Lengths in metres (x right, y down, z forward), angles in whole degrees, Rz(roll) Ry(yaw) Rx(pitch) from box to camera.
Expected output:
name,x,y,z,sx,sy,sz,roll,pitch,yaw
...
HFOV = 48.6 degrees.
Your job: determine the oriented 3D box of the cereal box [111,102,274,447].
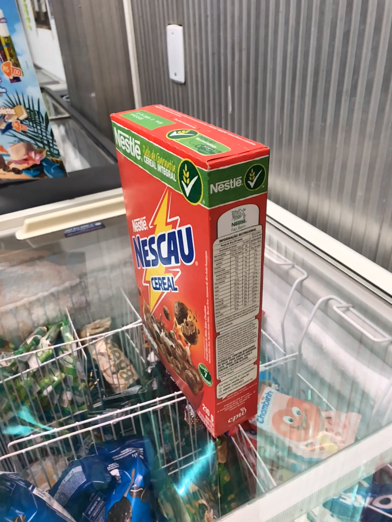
name,x,y,z,sx,sy,sz,roll,pitch,yaw
cereal box,-0.007,0.009,0.392,0.050,0.258,0.171,-17,34,-22
